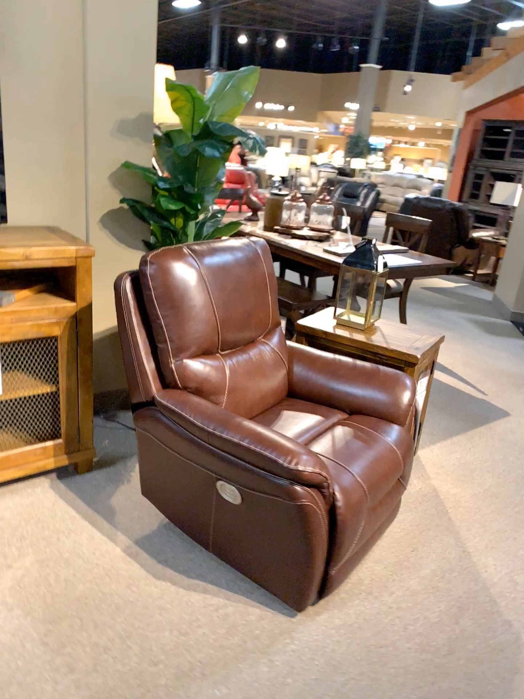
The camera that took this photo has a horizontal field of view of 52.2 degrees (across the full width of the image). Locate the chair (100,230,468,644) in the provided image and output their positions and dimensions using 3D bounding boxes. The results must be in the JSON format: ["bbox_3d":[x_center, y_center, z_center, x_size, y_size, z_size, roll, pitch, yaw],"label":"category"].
[{"bbox_3d":[0.061,0.160,1.936,0.913,0.975,0.851,19,23,30],"label":"chair"}]
